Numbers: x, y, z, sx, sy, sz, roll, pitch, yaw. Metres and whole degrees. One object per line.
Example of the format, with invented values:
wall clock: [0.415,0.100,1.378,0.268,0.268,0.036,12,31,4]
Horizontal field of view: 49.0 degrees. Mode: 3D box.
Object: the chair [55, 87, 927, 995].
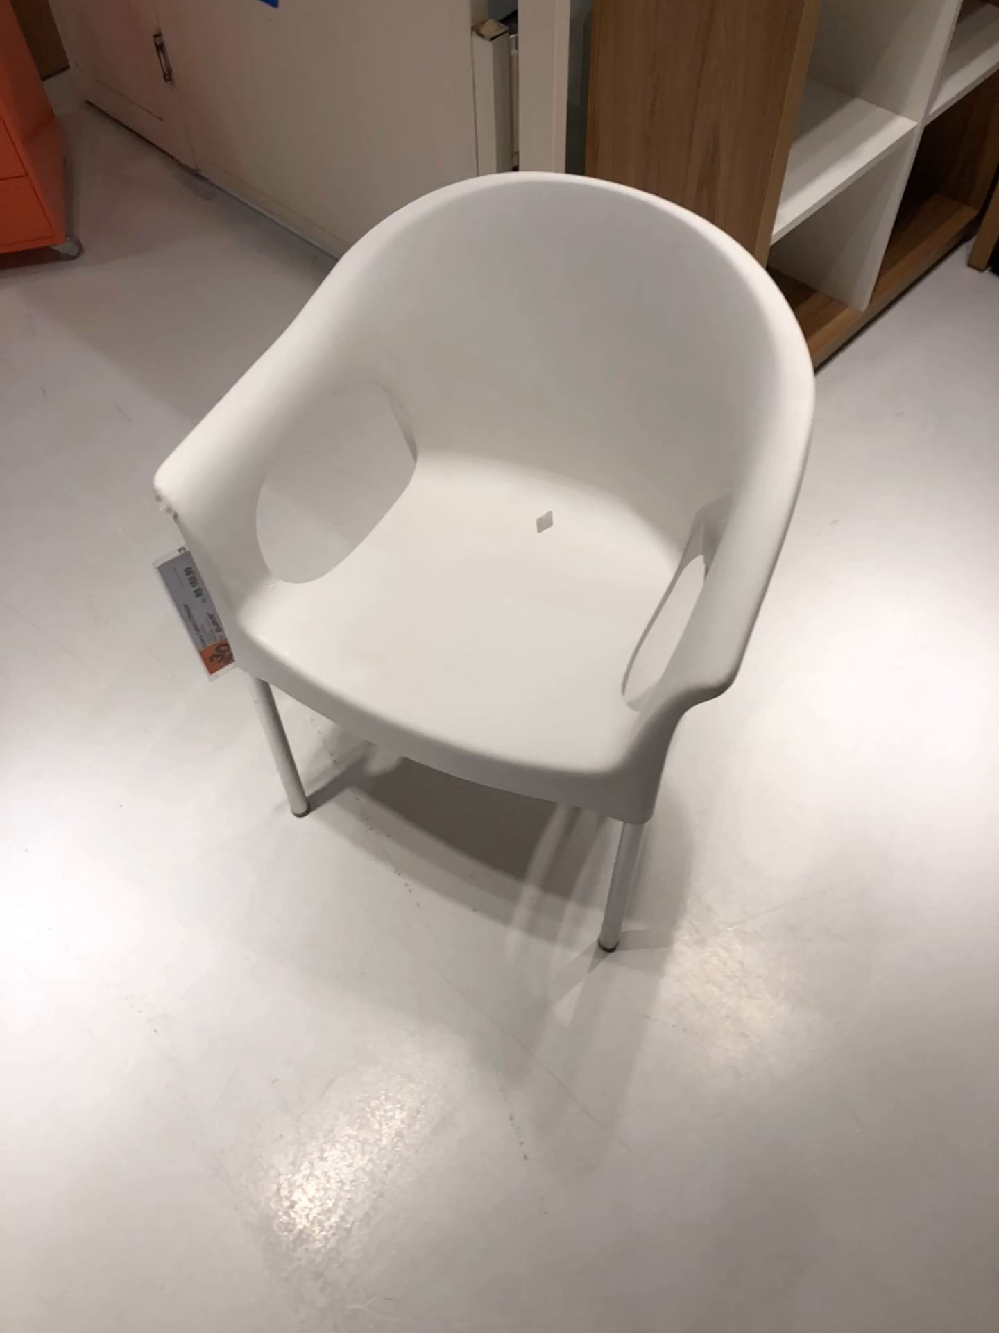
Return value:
chair: [0.028,-0.124,1.334,0.611,0.736,0.613,22,59,16]
